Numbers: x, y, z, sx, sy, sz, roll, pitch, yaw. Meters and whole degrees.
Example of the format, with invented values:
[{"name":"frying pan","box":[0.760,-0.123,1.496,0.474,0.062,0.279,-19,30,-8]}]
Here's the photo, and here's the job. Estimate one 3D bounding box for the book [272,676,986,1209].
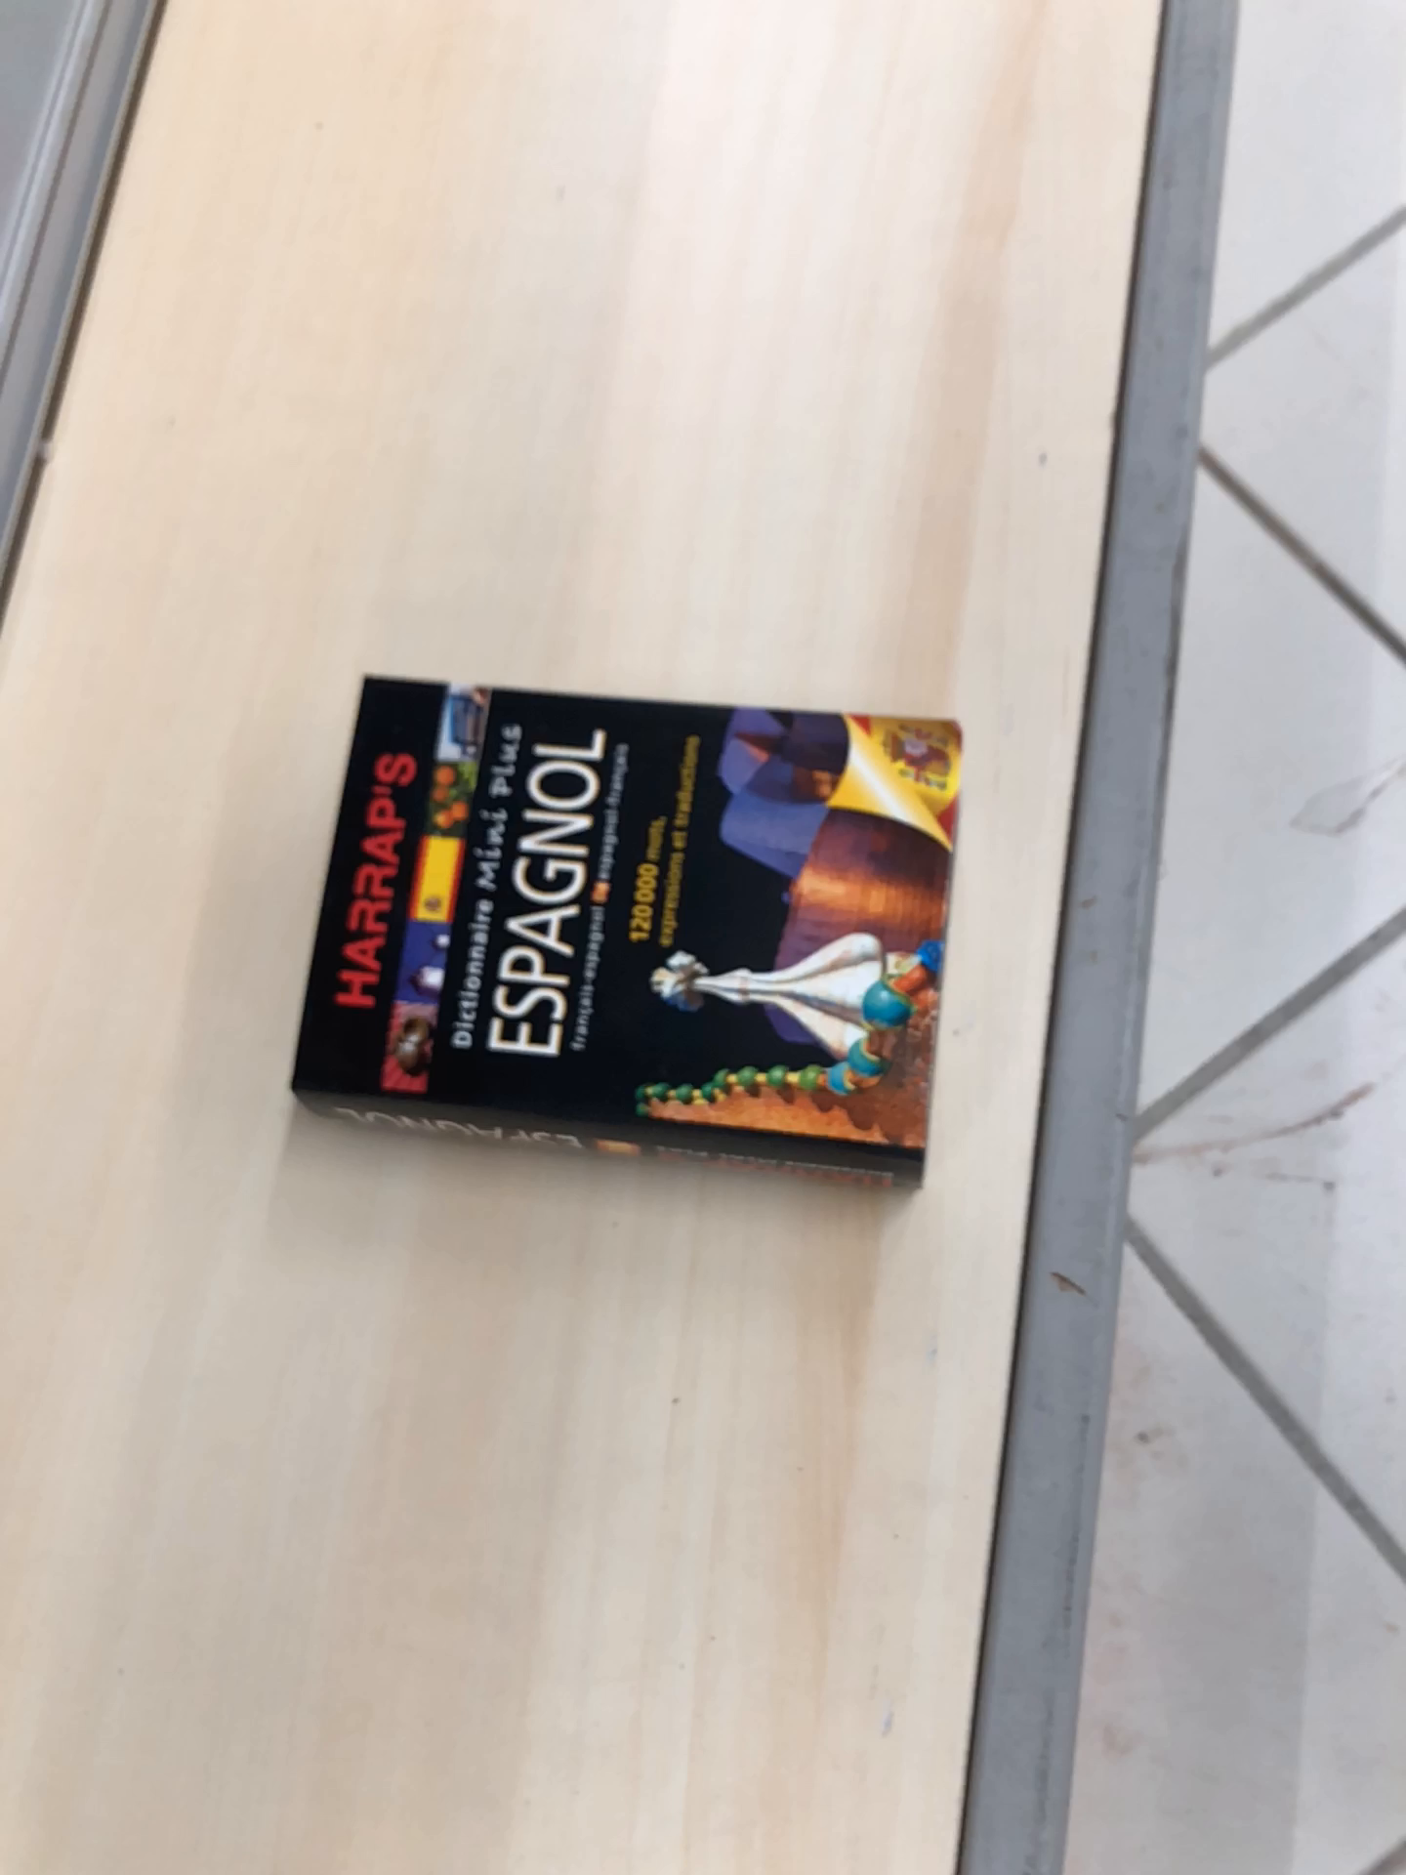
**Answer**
[{"name":"book","box":[-0.014,0.001,0.363,0.145,0.038,0.103,6,76,8]}]
